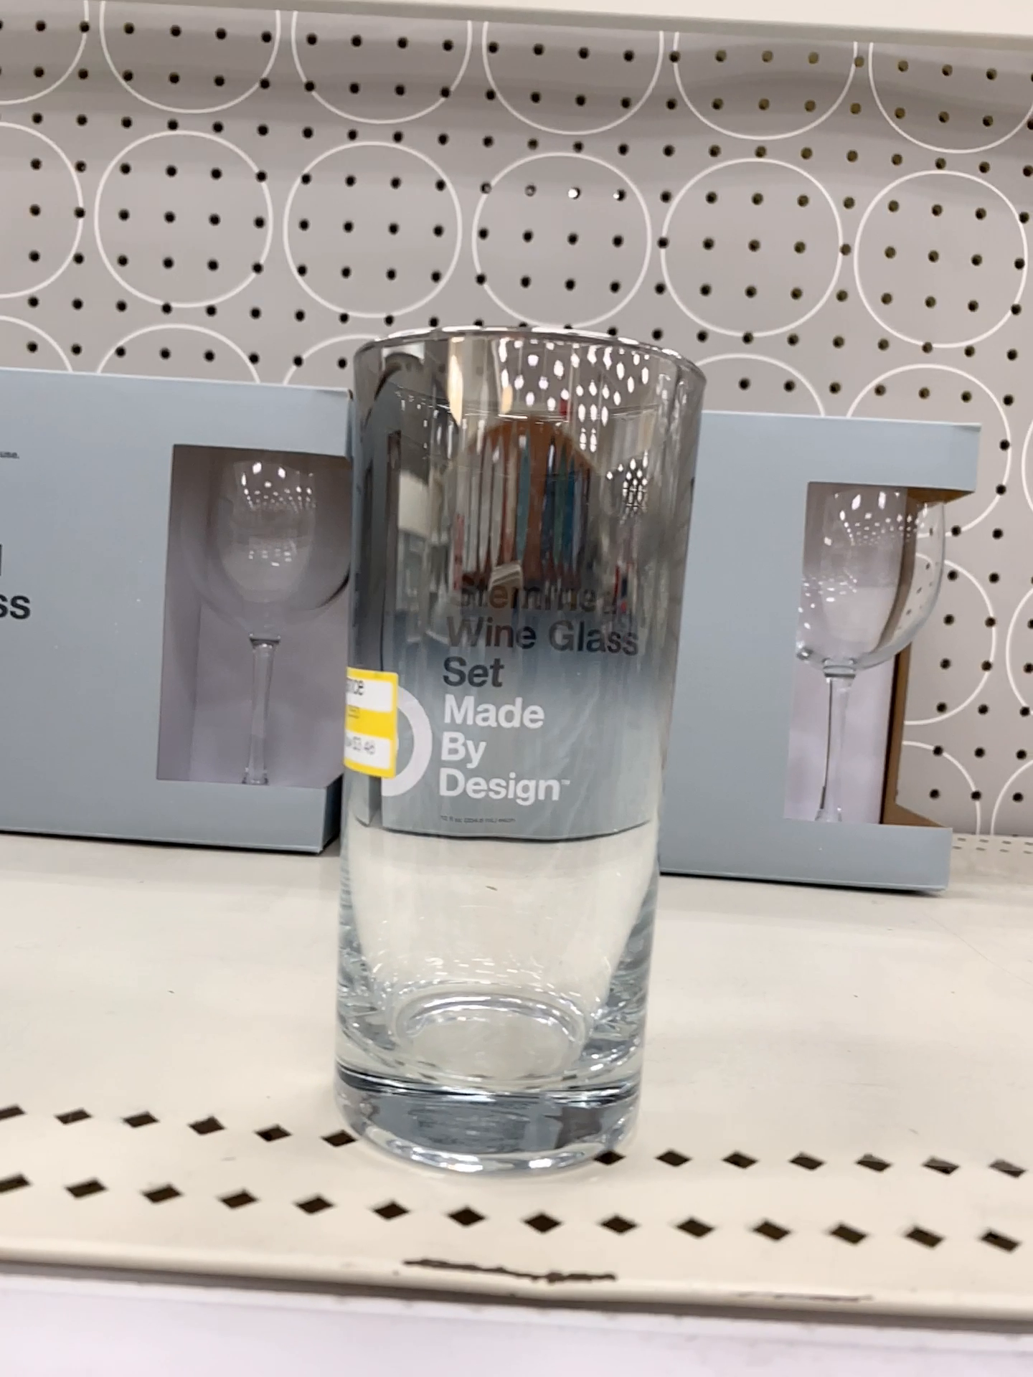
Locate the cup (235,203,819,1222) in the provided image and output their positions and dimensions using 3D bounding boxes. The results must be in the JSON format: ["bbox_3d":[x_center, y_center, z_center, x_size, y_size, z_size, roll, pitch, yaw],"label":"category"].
[{"bbox_3d":[-0.005,0.003,0.209,0.080,0.150,0.080,3,4,0],"label":"cup"}]
